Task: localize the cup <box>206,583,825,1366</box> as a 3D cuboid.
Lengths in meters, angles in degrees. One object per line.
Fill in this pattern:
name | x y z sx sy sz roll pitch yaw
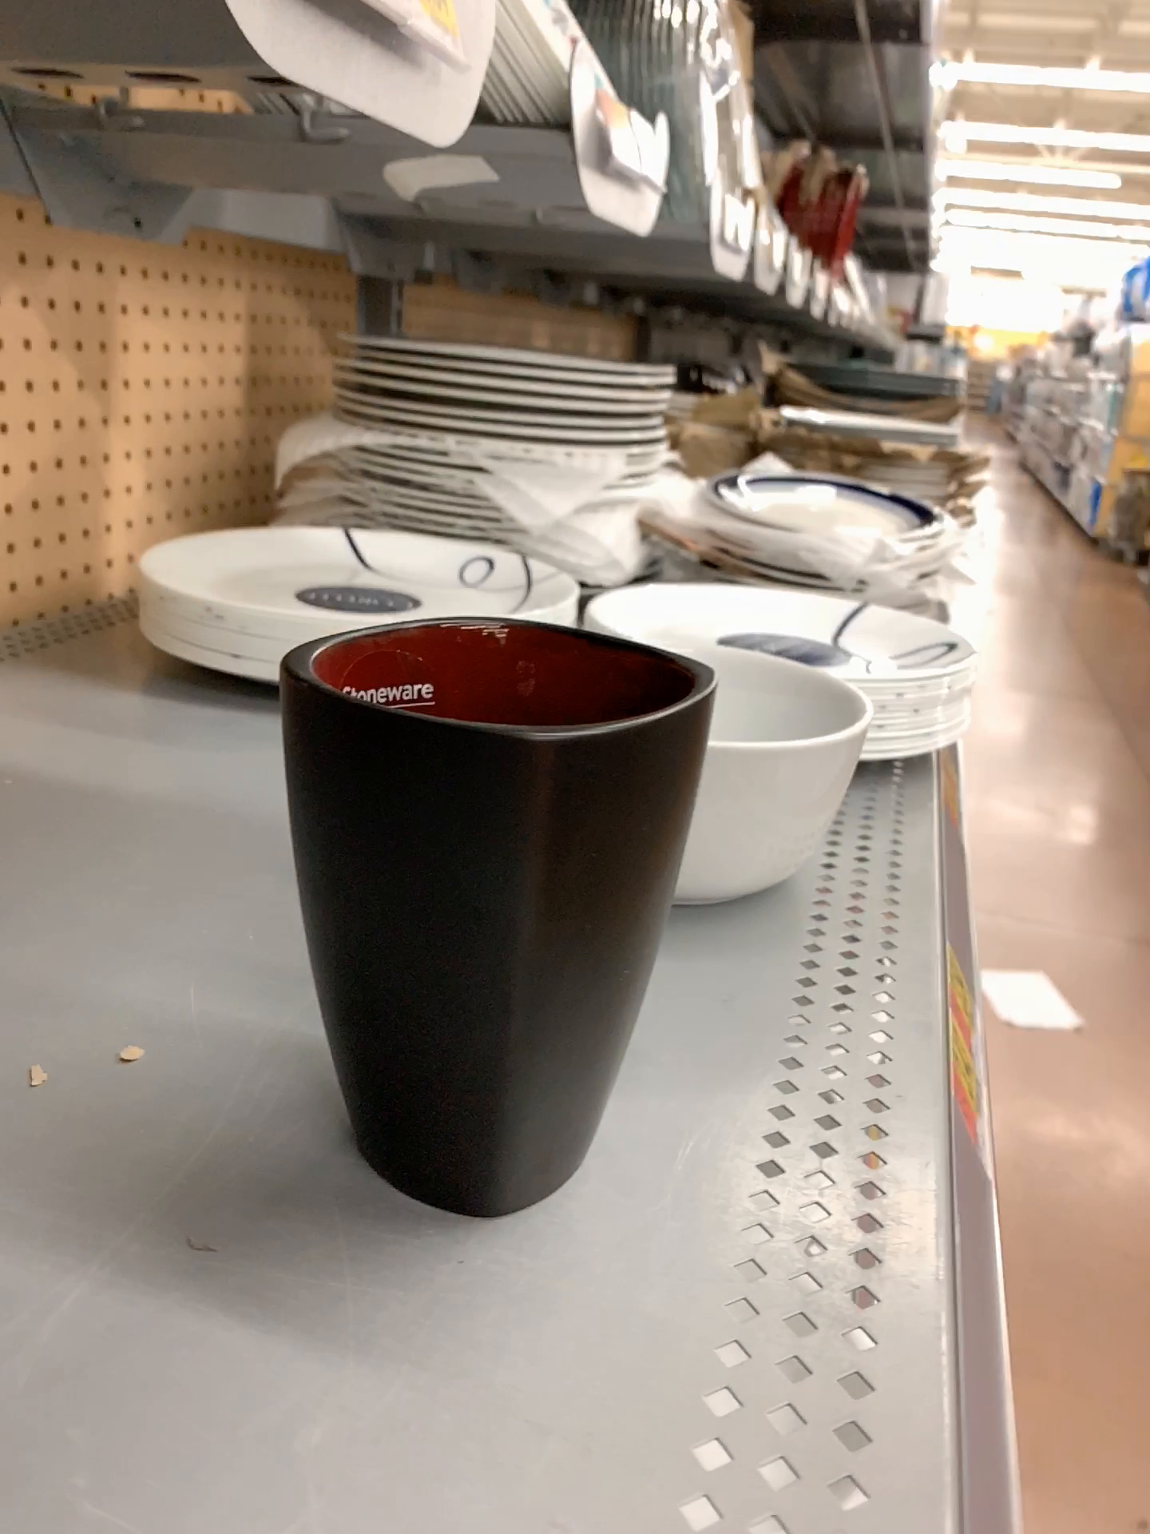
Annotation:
cup | -0.010 0.035 0.298 0.090 0.129 0.130 14 22 24
